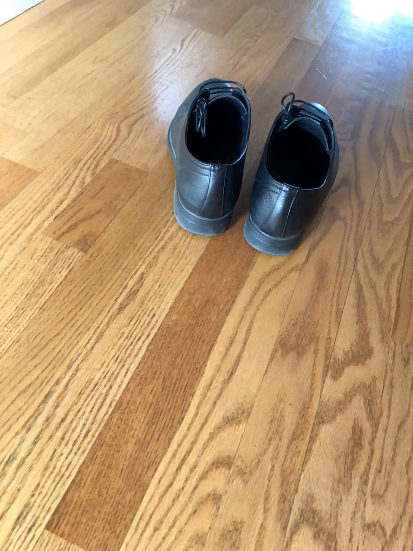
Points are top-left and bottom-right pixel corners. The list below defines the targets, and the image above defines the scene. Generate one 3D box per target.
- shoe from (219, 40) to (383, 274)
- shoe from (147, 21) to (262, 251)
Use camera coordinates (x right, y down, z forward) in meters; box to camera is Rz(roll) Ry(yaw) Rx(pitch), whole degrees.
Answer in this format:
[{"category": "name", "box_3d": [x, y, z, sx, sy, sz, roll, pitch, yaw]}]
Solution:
[{"category": "shoe", "box_3d": [0.128, -0.165, 0.583, 0.110, 0.123, 0.300, 22, 51, 6]}, {"category": "shoe", "box_3d": [0.003, -0.194, 0.597, 0.110, 0.123, 0.305, 8, 51, -4]}]
